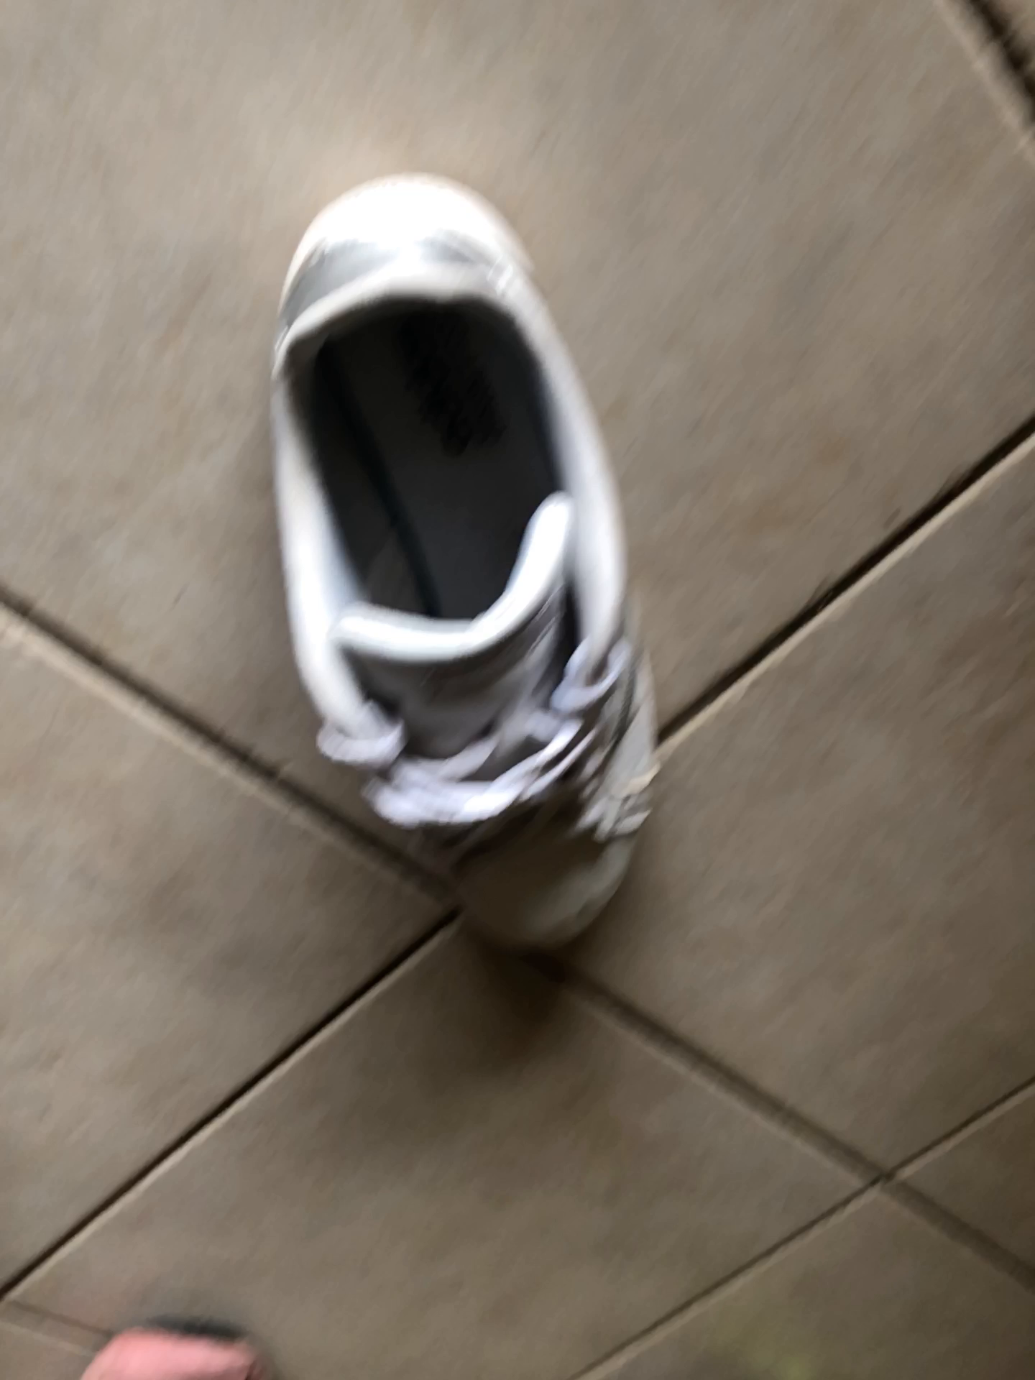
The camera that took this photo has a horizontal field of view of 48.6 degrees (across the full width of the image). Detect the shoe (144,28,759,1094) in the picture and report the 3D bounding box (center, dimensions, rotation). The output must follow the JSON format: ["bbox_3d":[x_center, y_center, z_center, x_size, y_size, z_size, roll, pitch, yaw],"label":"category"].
[{"bbox_3d":[-0.003,-0.022,0.325,0.090,0.100,0.271,-15,123,-1],"label":"shoe"}]
